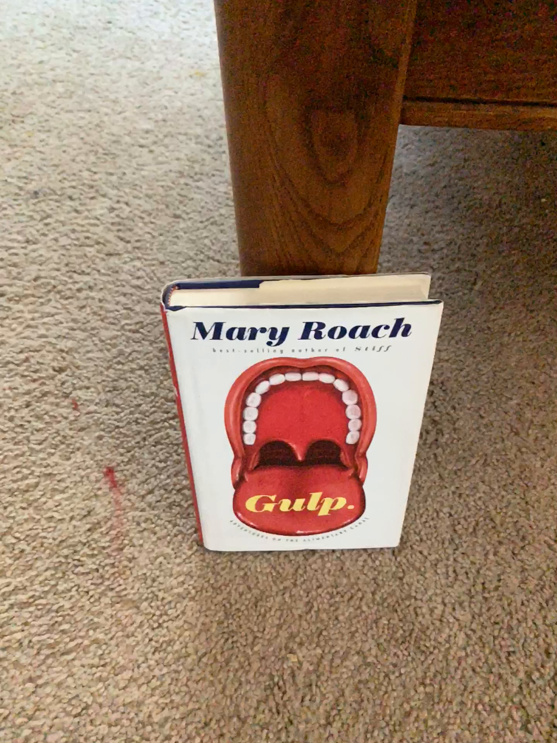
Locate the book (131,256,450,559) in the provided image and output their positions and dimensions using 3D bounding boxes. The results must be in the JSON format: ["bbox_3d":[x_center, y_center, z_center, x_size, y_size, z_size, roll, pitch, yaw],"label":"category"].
[{"bbox_3d":[0.008,0.039,0.377,0.160,0.229,0.040,-1,39,1],"label":"book"}]
